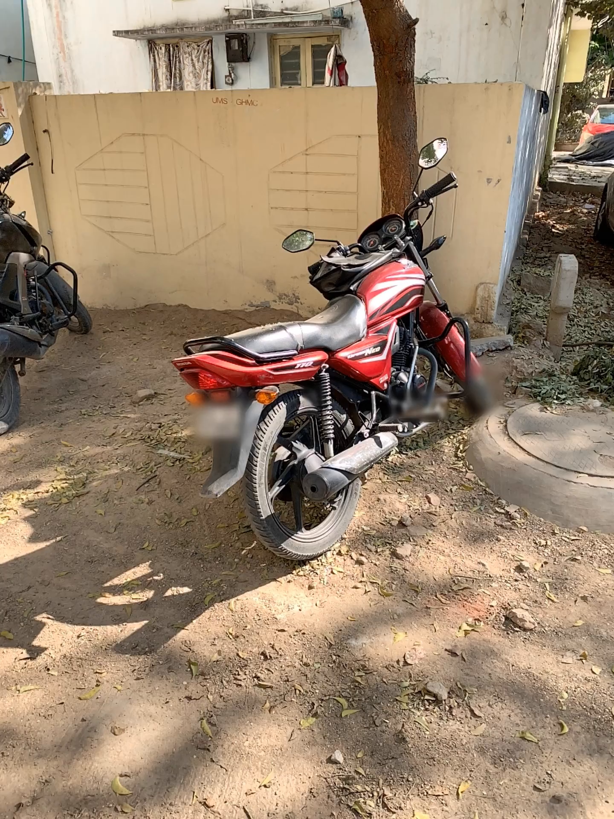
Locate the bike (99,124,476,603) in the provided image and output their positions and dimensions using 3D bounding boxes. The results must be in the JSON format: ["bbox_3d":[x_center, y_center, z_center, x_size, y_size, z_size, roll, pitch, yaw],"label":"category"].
[{"bbox_3d":[0.057,-0.408,2.586,0.776,1.179,1.648,12,33,26],"label":"bike"}]
